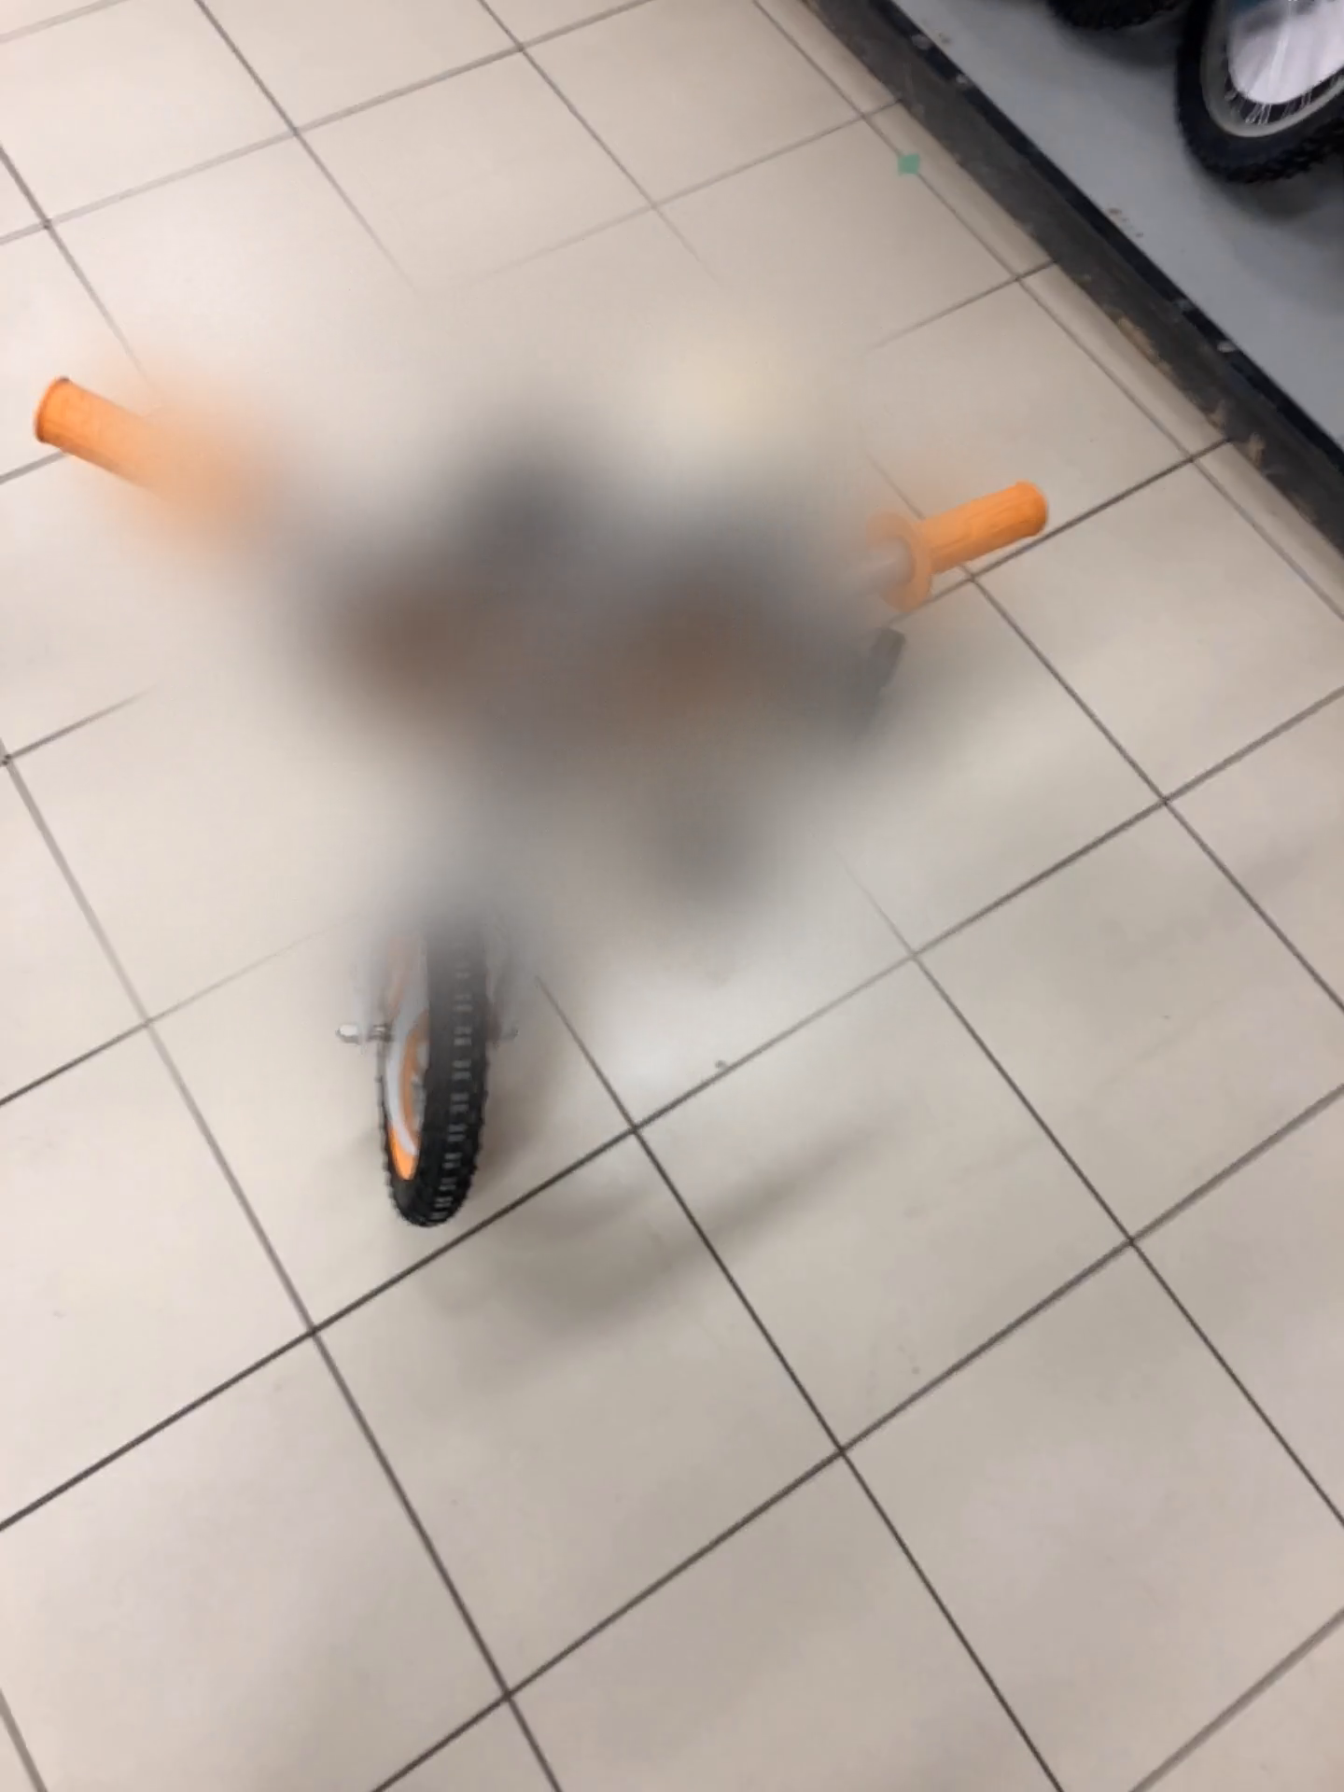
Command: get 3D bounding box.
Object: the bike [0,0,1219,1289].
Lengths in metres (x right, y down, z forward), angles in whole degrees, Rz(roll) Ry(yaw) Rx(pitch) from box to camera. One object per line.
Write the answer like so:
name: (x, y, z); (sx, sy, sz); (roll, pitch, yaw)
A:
bike: (-0.055, -0.210, 1.064); (0.435, 0.715, 0.816); (20, 67, 5)
